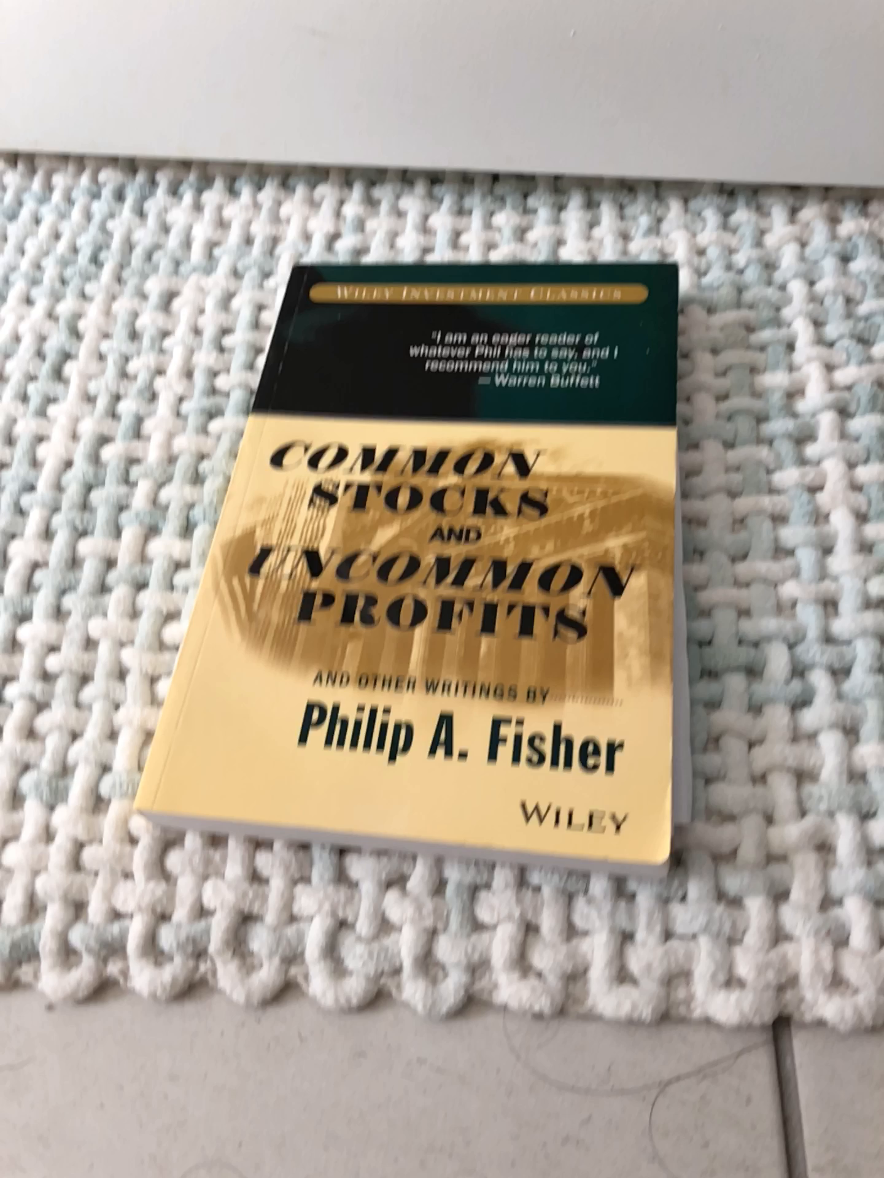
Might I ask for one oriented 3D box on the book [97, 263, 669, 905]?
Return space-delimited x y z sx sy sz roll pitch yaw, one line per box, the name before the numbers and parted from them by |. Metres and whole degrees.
book | -0.006 -0.023 0.359 0.166 0.027 0.247 3 60 9
